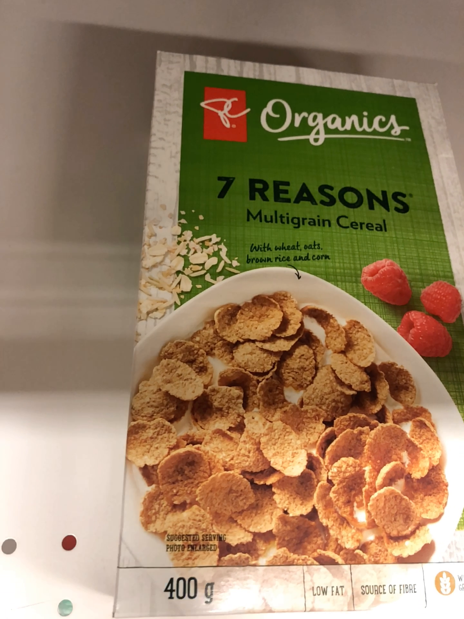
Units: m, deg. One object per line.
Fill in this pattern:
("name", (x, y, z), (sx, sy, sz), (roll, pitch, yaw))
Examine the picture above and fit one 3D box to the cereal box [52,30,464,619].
("cereal box", (0.033, -0.004, 0.243), (0.180, 0.060, 0.260), (4, 64, -8))
